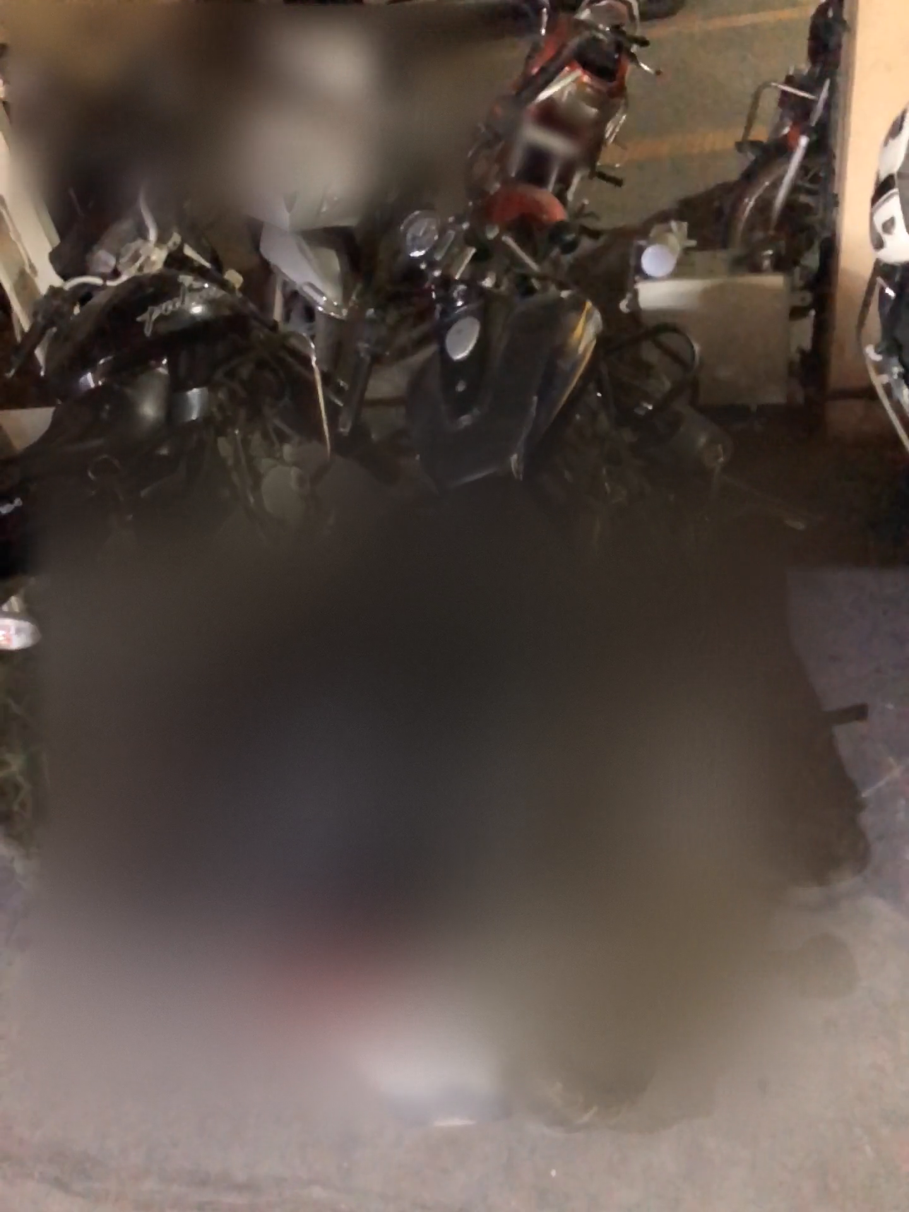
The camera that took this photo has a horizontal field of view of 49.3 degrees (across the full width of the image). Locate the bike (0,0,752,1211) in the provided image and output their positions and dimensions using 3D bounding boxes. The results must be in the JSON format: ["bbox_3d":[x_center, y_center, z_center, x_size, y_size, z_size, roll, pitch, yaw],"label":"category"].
[{"bbox_3d":[-0.052,-0.195,1.692,0.863,1.251,1.677,-4,41,11],"label":"bike"}]
